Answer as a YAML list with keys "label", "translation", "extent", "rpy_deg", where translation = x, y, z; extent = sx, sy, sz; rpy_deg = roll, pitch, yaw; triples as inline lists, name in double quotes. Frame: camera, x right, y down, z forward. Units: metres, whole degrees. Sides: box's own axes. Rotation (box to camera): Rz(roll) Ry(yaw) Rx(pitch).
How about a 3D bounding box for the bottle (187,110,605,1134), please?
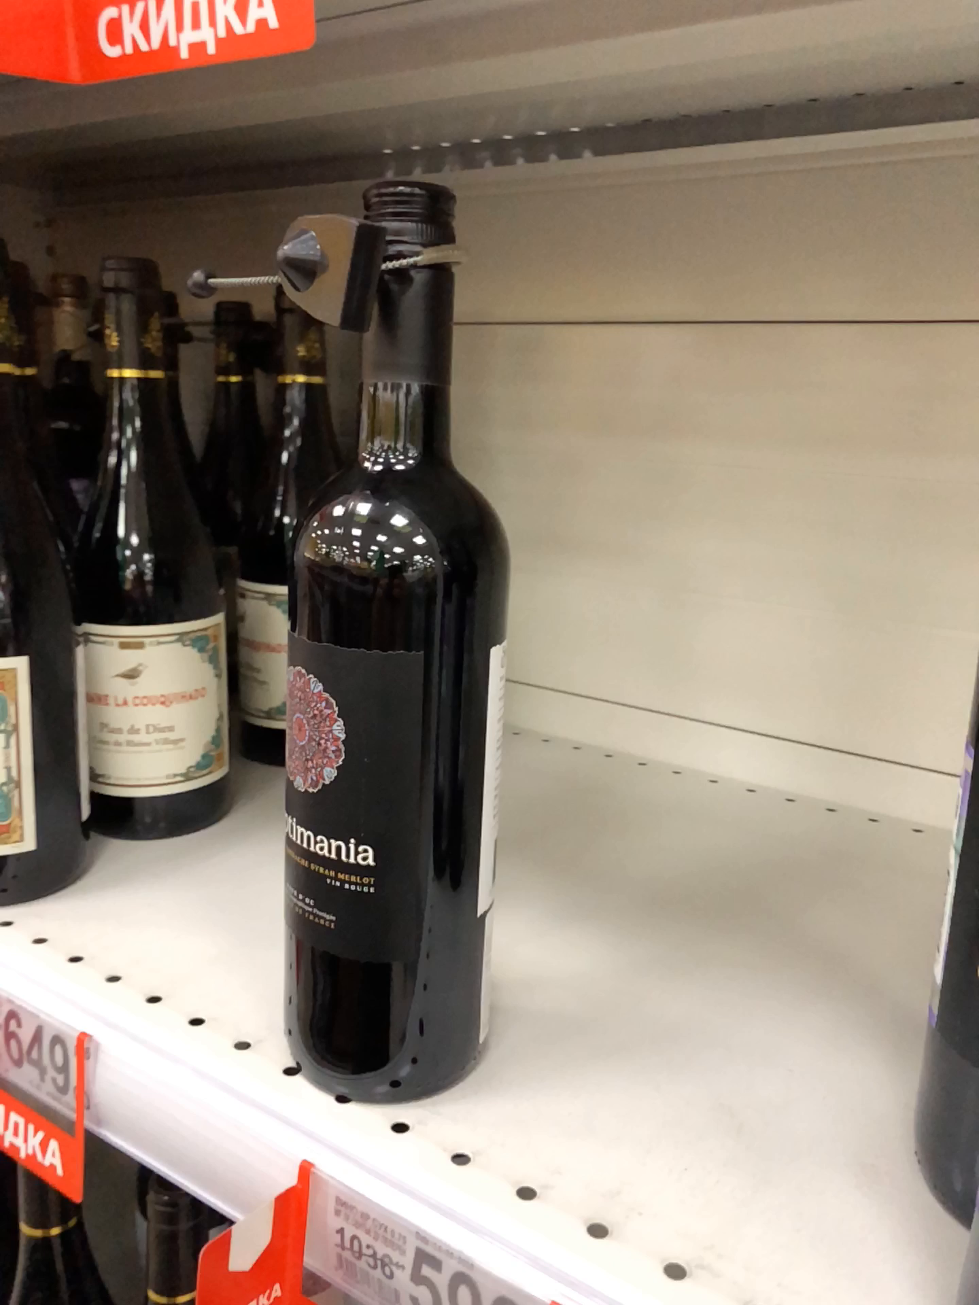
- label: "bottle"
  translation: [-0.033, -0.008, 0.363]
  extent: [0.090, 0.291, 0.090]
  rpy_deg: [2, 13, 0]
